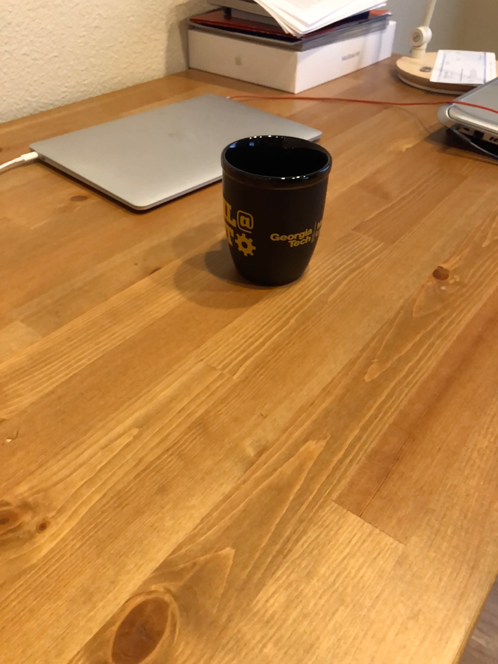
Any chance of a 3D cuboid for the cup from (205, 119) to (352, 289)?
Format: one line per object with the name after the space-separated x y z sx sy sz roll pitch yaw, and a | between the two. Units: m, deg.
0.017 -0.111 0.466 0.090 0.090 0.120 -6 40 -9 | cup
